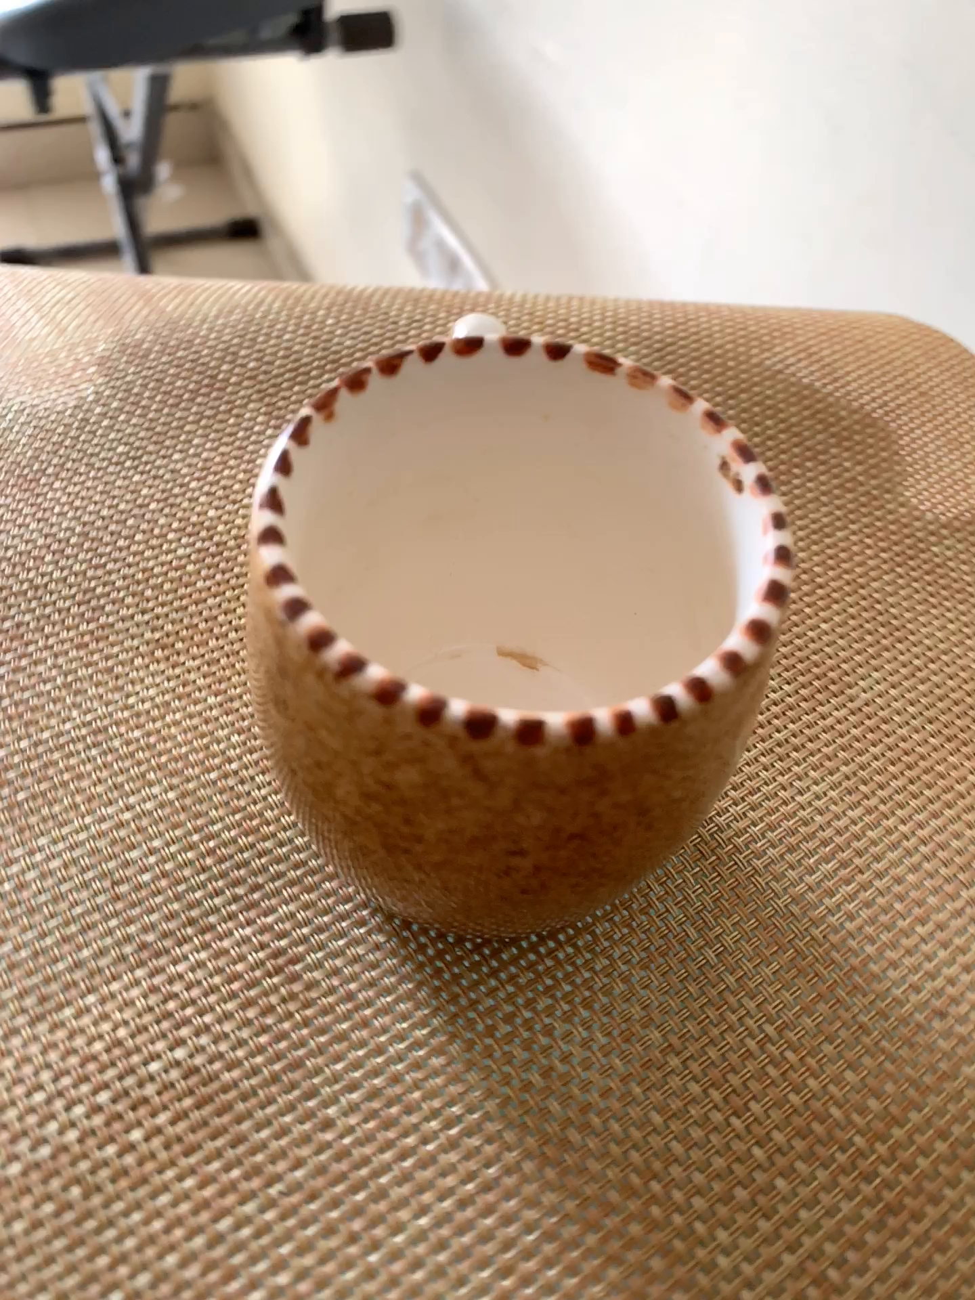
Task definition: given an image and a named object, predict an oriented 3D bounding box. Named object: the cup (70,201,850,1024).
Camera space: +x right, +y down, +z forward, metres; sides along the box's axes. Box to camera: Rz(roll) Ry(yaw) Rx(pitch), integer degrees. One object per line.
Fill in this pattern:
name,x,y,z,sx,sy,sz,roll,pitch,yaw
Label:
cup,-0.004,-0.005,0.147,0.070,0.070,0.091,3,52,-4
